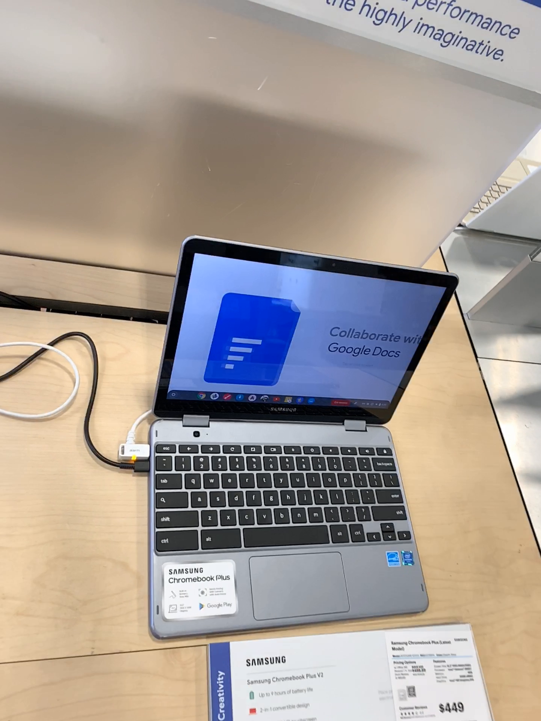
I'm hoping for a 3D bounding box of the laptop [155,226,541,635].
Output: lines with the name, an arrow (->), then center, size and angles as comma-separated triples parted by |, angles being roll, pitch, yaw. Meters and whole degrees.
laptop -> 0.046, 0.070, 0.513 | 0.274, 0.181, 0.288 | 4, 60, -19
